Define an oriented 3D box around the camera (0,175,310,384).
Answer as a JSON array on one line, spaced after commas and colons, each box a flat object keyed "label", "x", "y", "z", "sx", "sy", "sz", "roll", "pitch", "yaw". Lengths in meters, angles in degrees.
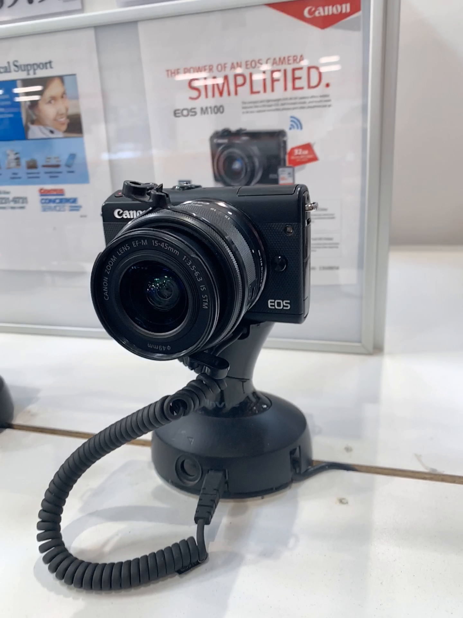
[{"label": "camera", "x": -0.029, "y": -0.022, "z": 0.213, "sx": 0.110, "sy": 0.066, "sz": 0.093, "roll": 3, "pitch": 15, "yaw": 20}]
